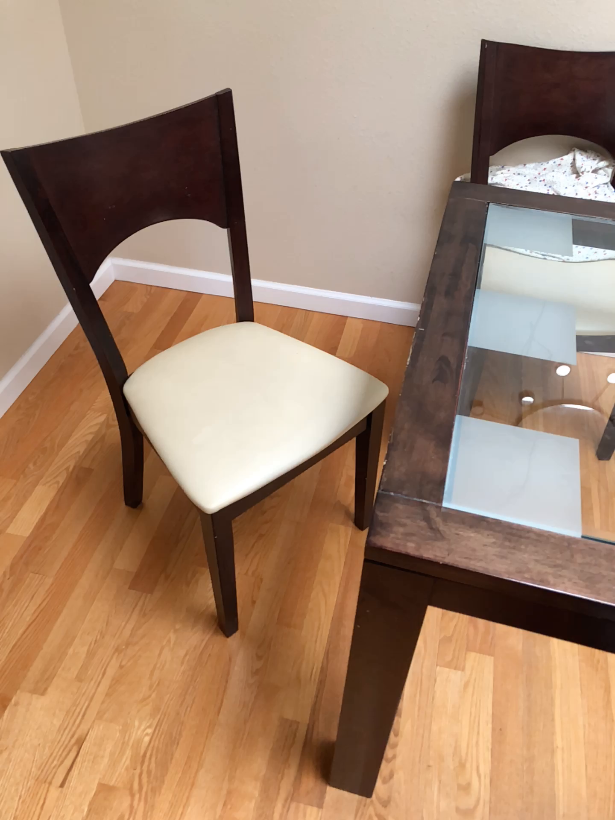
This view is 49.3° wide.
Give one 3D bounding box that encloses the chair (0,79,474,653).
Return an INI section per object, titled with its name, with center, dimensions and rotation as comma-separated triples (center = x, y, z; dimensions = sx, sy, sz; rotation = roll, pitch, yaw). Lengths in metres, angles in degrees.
[chair]
center = -0.142, -0.094, 1.420
dimensions = 0.592, 0.895, 0.572
rotation = -33, 53, -32
